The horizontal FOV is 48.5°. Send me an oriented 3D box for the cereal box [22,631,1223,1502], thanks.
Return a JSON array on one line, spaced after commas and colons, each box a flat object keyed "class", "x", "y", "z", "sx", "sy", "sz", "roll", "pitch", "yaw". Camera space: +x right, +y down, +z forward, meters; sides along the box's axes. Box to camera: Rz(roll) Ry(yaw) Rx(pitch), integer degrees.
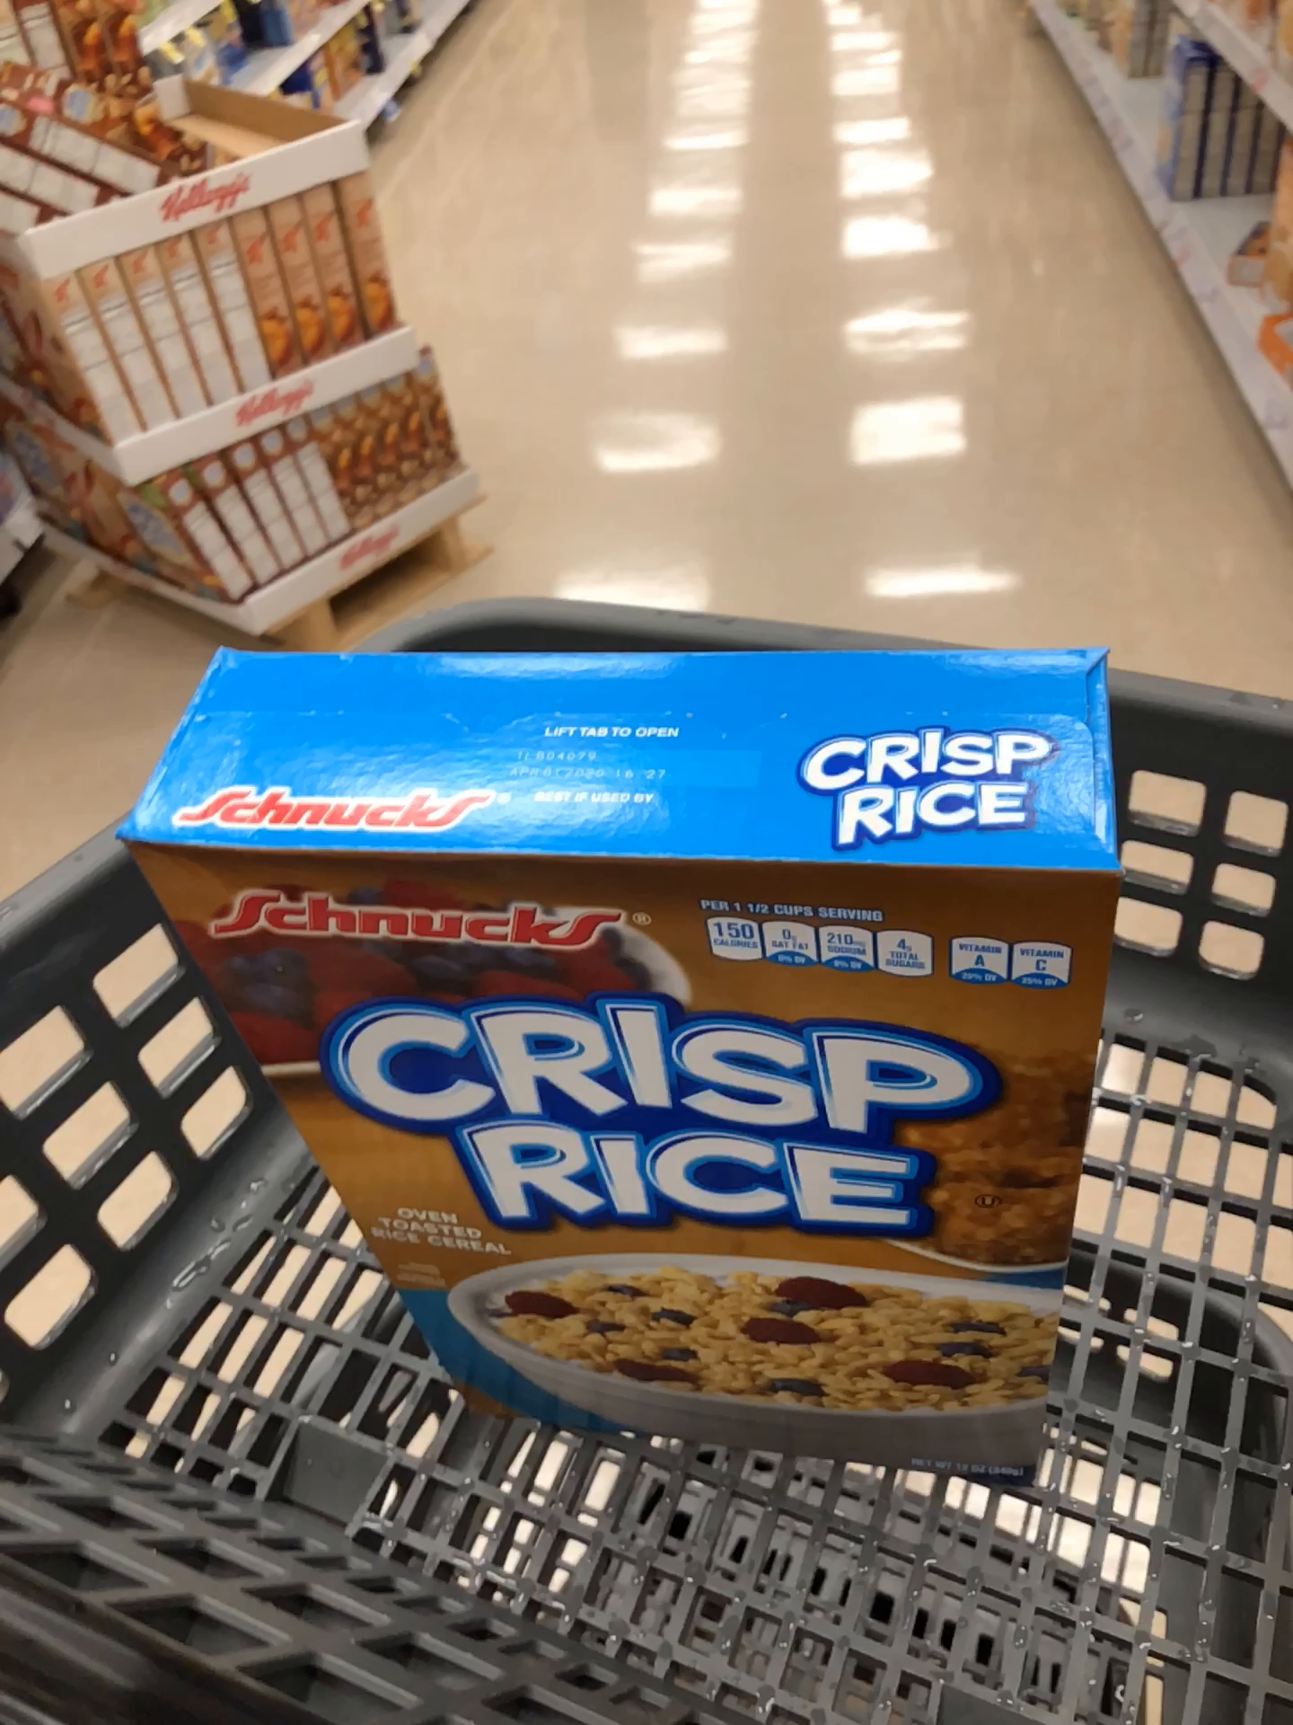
[{"class": "cereal box", "x": 0.010, "y": 0.077, "z": 0.386, "sx": 0.220, "sy": 0.299, "sz": 0.060, "roll": 1, "pitch": 48, "yaw": 11}]
